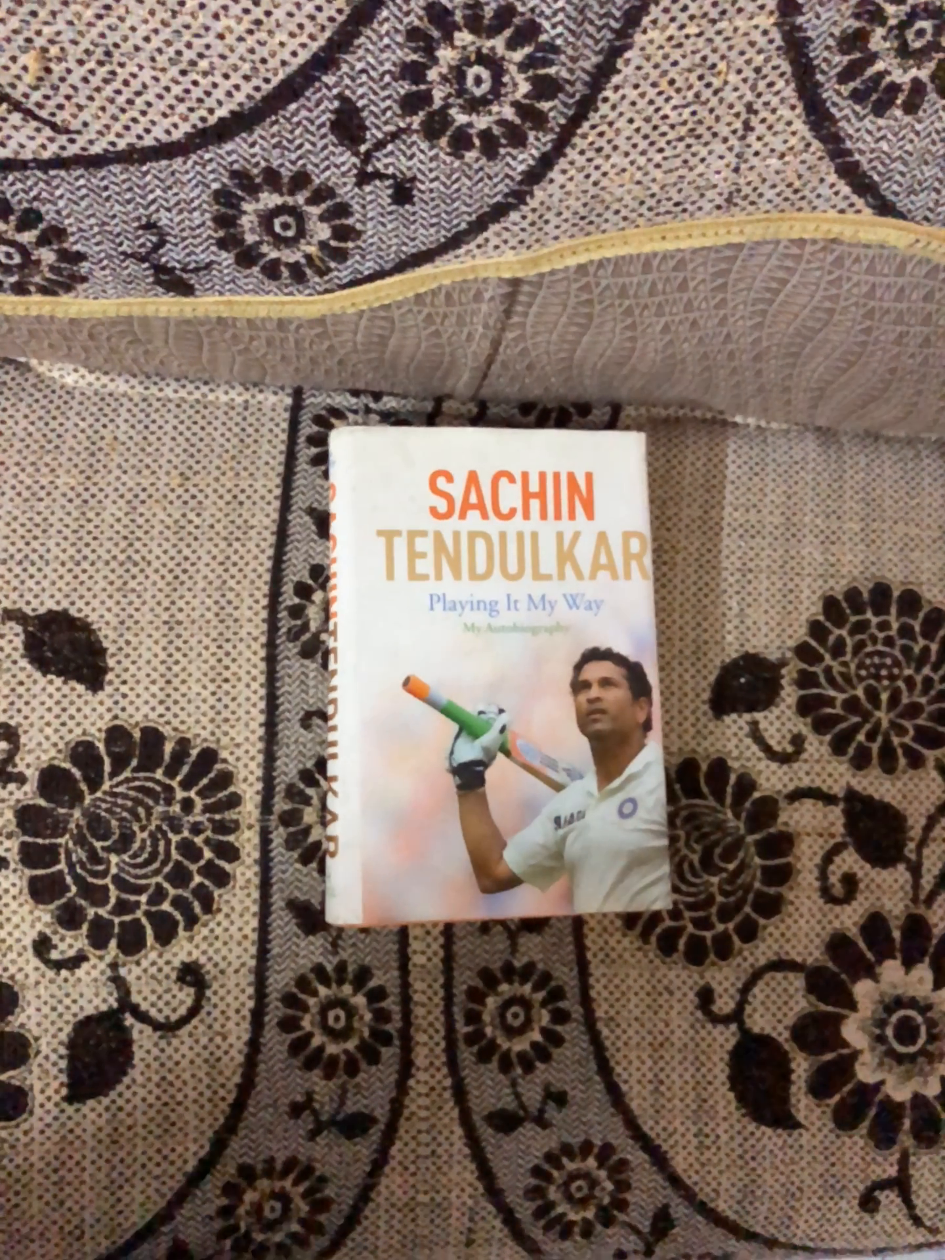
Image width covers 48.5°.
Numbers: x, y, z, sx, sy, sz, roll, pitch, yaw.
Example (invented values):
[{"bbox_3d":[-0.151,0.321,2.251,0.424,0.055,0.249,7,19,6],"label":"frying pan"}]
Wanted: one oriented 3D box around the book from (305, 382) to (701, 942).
[{"bbox_3d":[0.007,0.015,0.530,0.180,0.070,0.260,0,79,-10],"label":"book"}]
